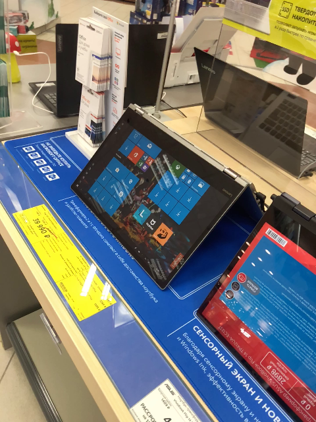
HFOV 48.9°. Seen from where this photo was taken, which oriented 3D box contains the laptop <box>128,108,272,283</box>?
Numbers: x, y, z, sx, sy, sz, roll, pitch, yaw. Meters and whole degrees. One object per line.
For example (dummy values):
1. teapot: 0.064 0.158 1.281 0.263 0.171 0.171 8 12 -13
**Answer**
1. laptop: 0.083 -0.026 0.804 0.210 0.150 0.337 14 22 -50
